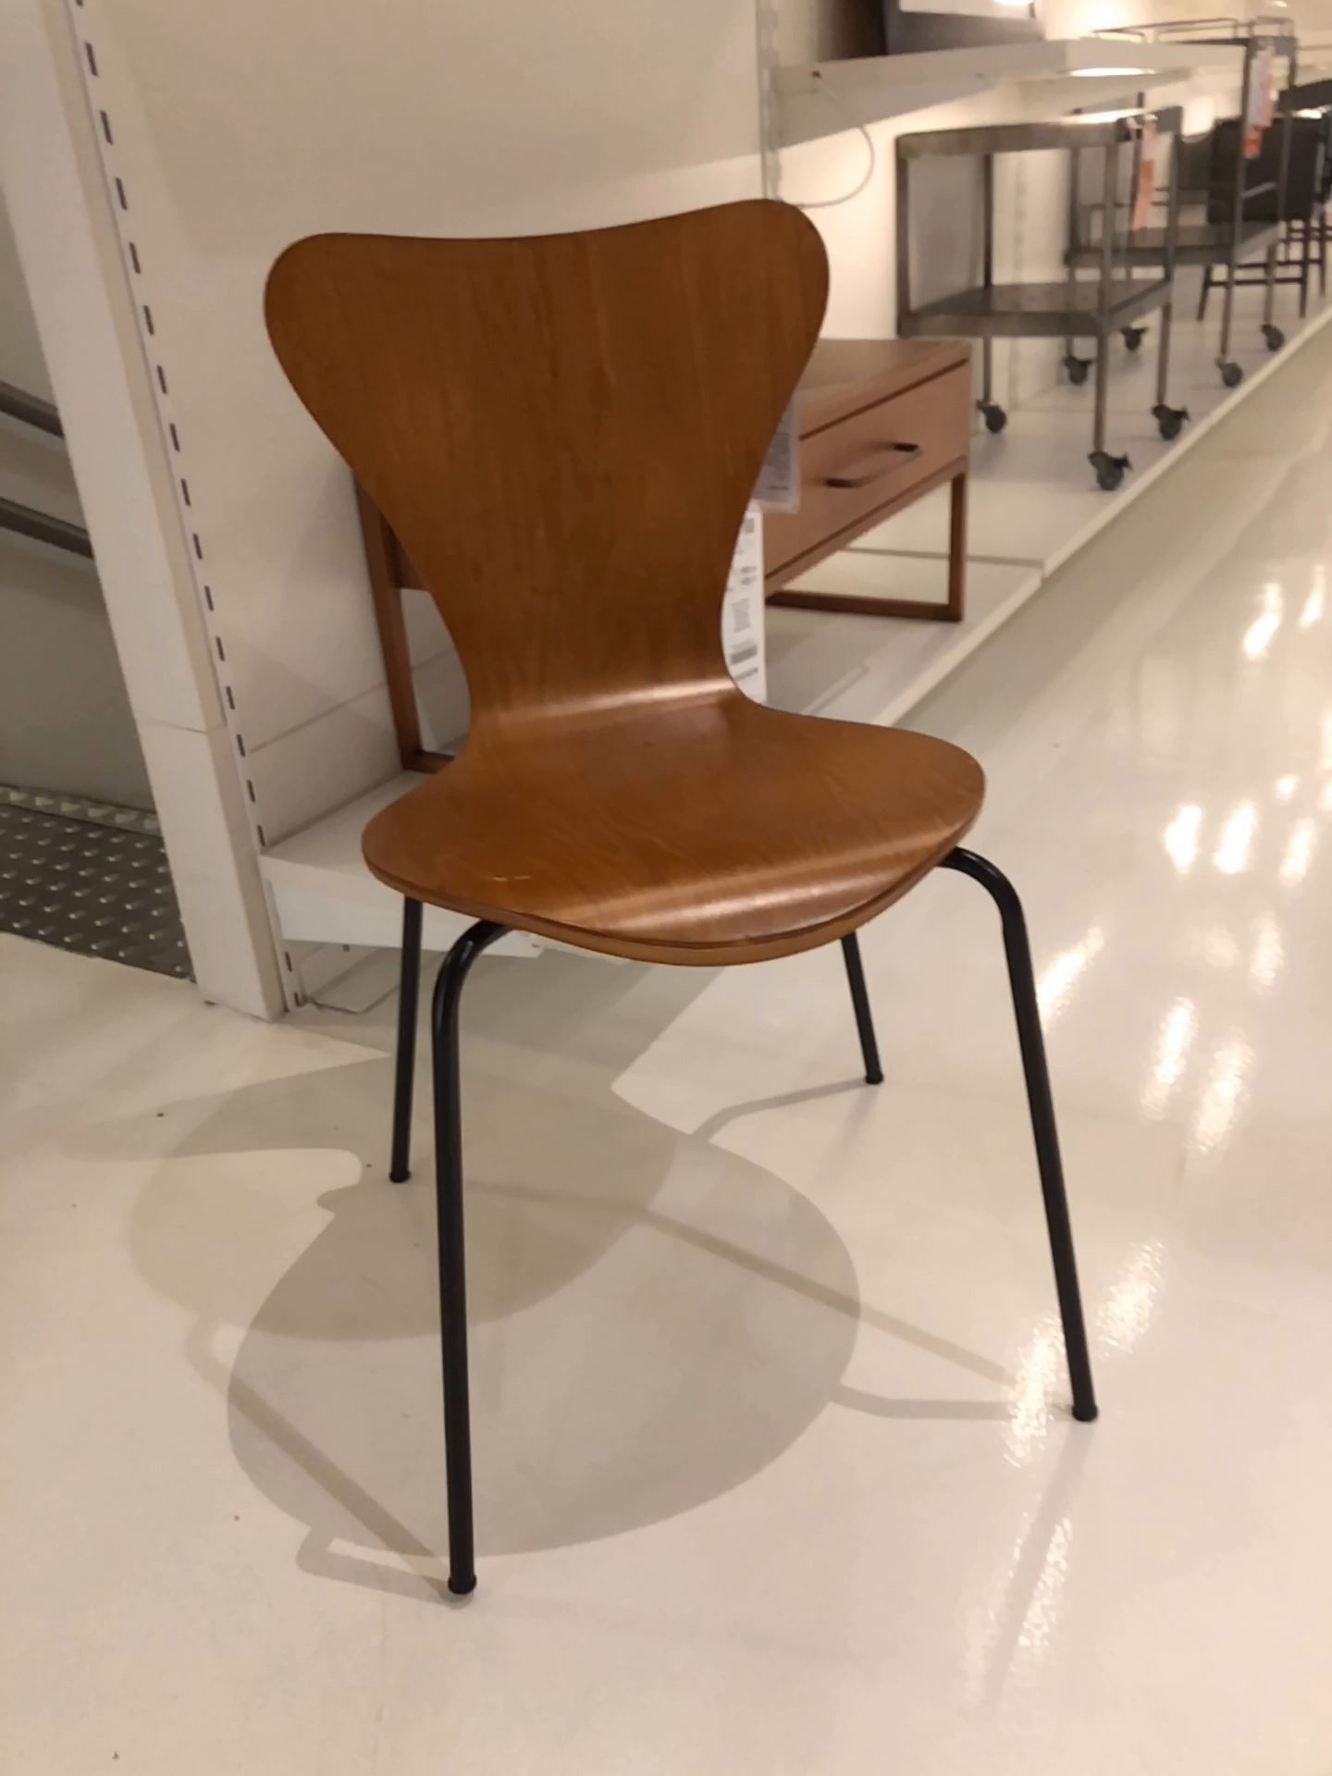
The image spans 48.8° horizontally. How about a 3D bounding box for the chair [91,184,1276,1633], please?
[{"bbox_3d":[-0.013,-0.048,1.067,0.540,0.794,0.574,-11,27,-11],"label":"chair"}]
